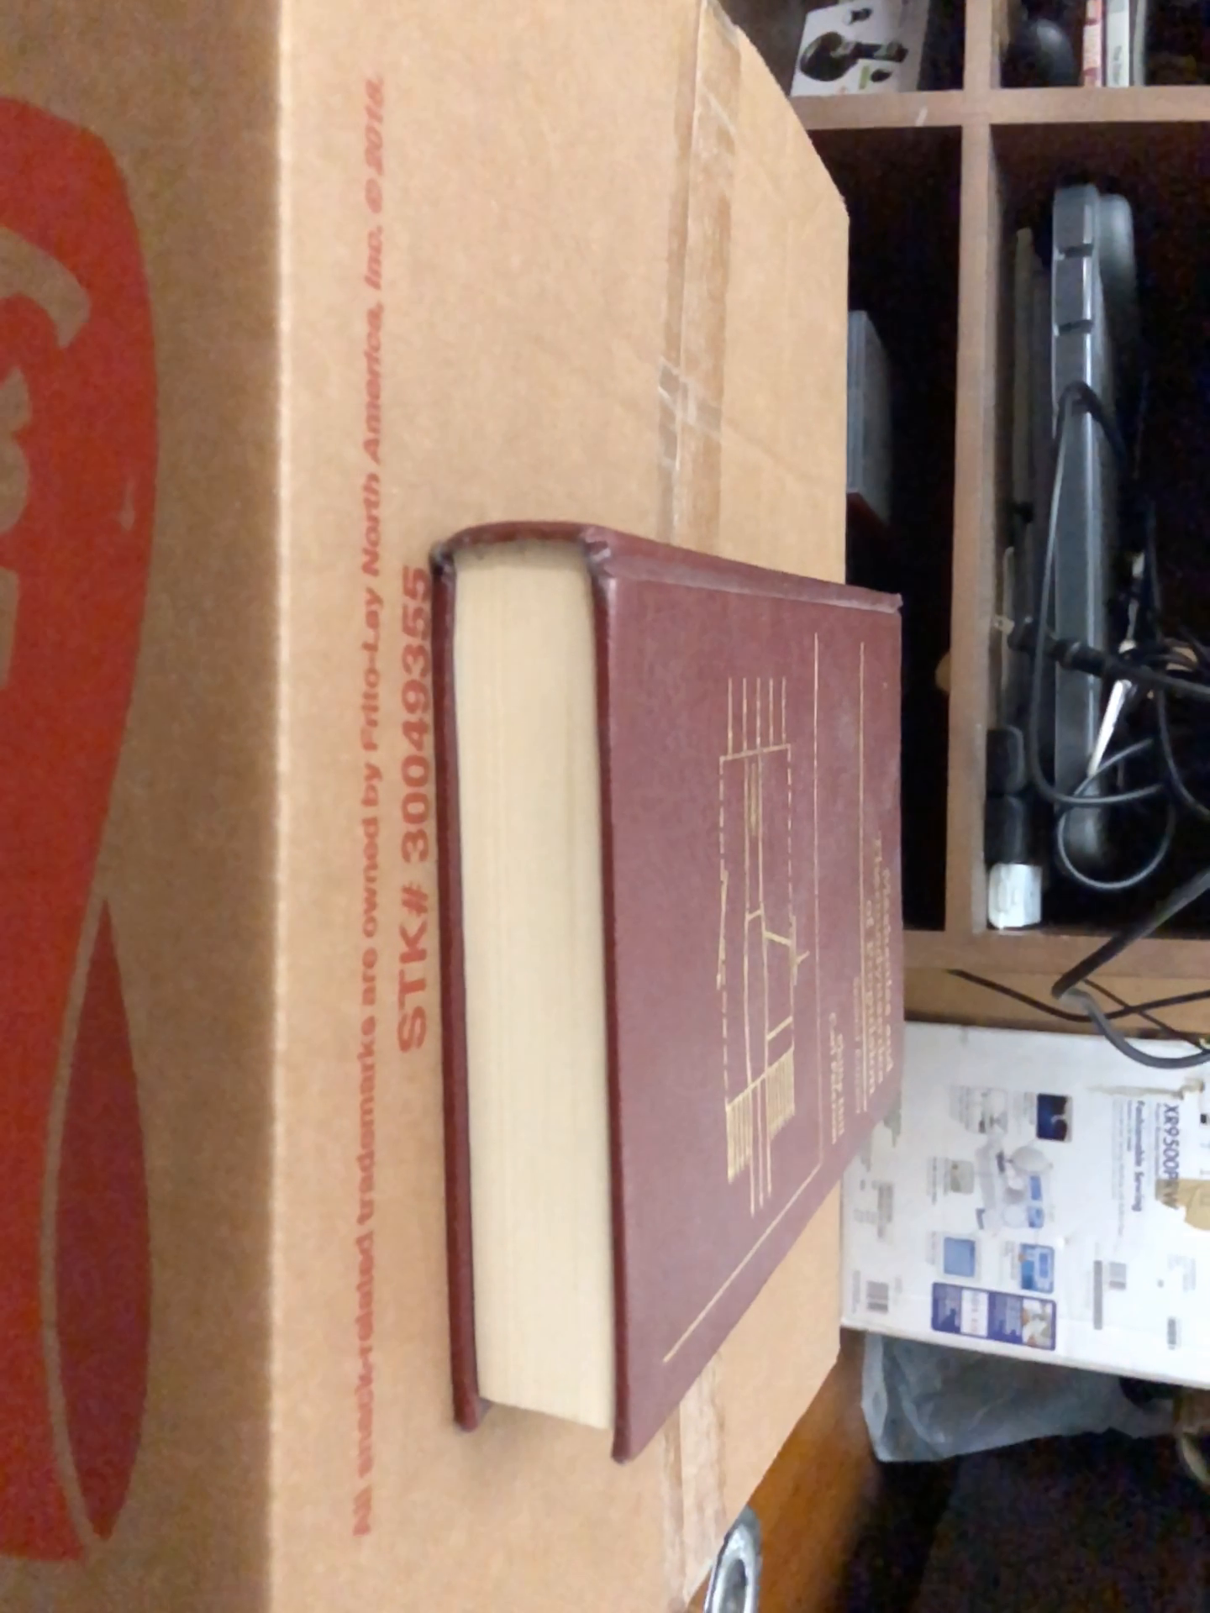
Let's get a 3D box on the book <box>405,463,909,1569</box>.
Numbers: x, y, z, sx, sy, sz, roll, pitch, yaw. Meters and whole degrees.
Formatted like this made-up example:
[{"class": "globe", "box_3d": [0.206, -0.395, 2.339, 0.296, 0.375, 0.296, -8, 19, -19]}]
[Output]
[{"class": "book", "box_3d": [0.034, 0.029, 0.345, 0.241, 0.040, 0.190, -10, 100, -66]}]
